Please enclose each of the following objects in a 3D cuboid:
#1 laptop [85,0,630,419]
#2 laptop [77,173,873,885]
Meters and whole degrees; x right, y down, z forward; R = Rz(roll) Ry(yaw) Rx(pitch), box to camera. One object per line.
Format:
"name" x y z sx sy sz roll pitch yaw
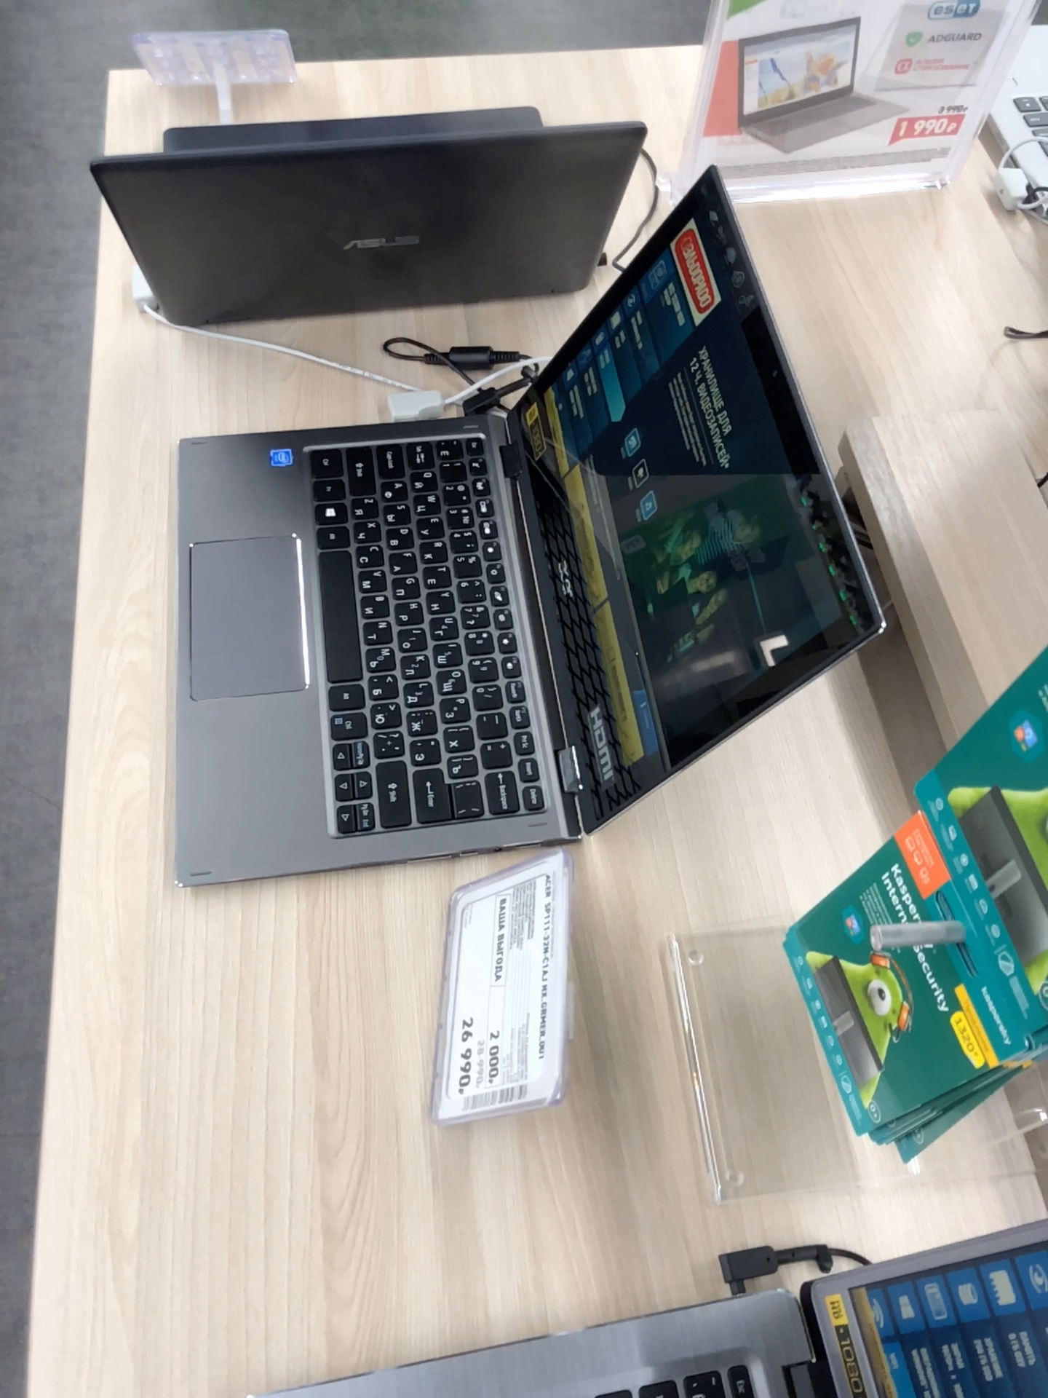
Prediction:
"laptop" -0.105 -0.358 0.727 0.275 0.174 0.287 -7 60 -7
"laptop" -0.037 -0.091 0.578 0.303 0.168 0.288 -6 60 -7
